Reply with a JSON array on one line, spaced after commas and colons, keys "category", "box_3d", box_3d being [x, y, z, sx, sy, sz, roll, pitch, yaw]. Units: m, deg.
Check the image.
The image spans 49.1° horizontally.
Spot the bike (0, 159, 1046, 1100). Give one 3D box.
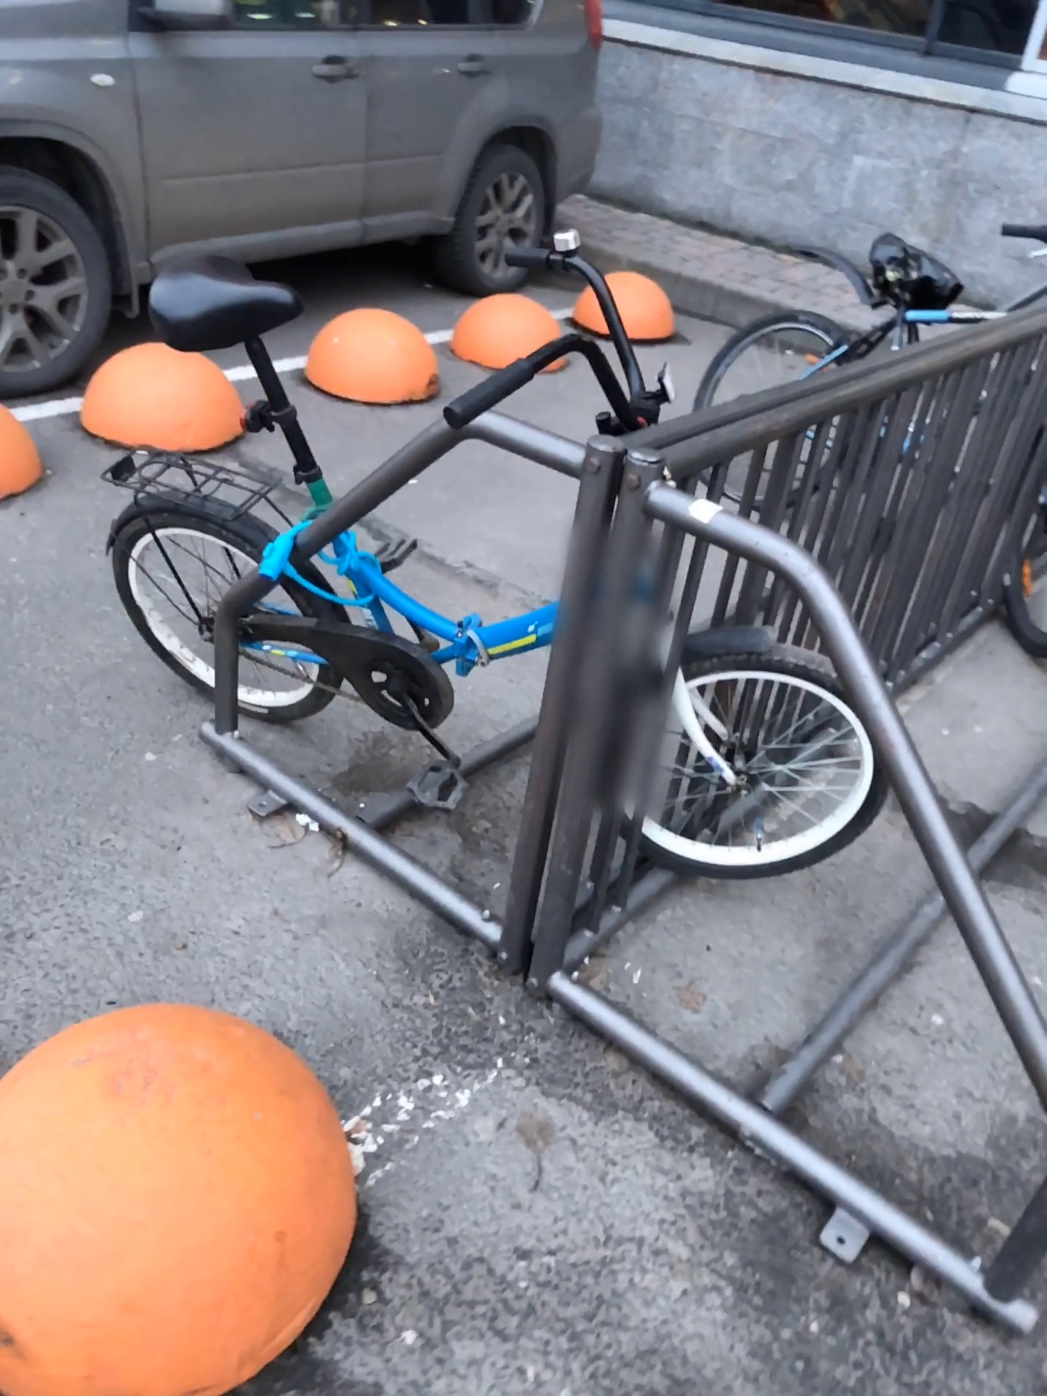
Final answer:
[{"category": "bike", "box_3d": [-0.154, -0.214, 1.692, 1.421, 0.992, 0.727, 13, 32, 18]}]
